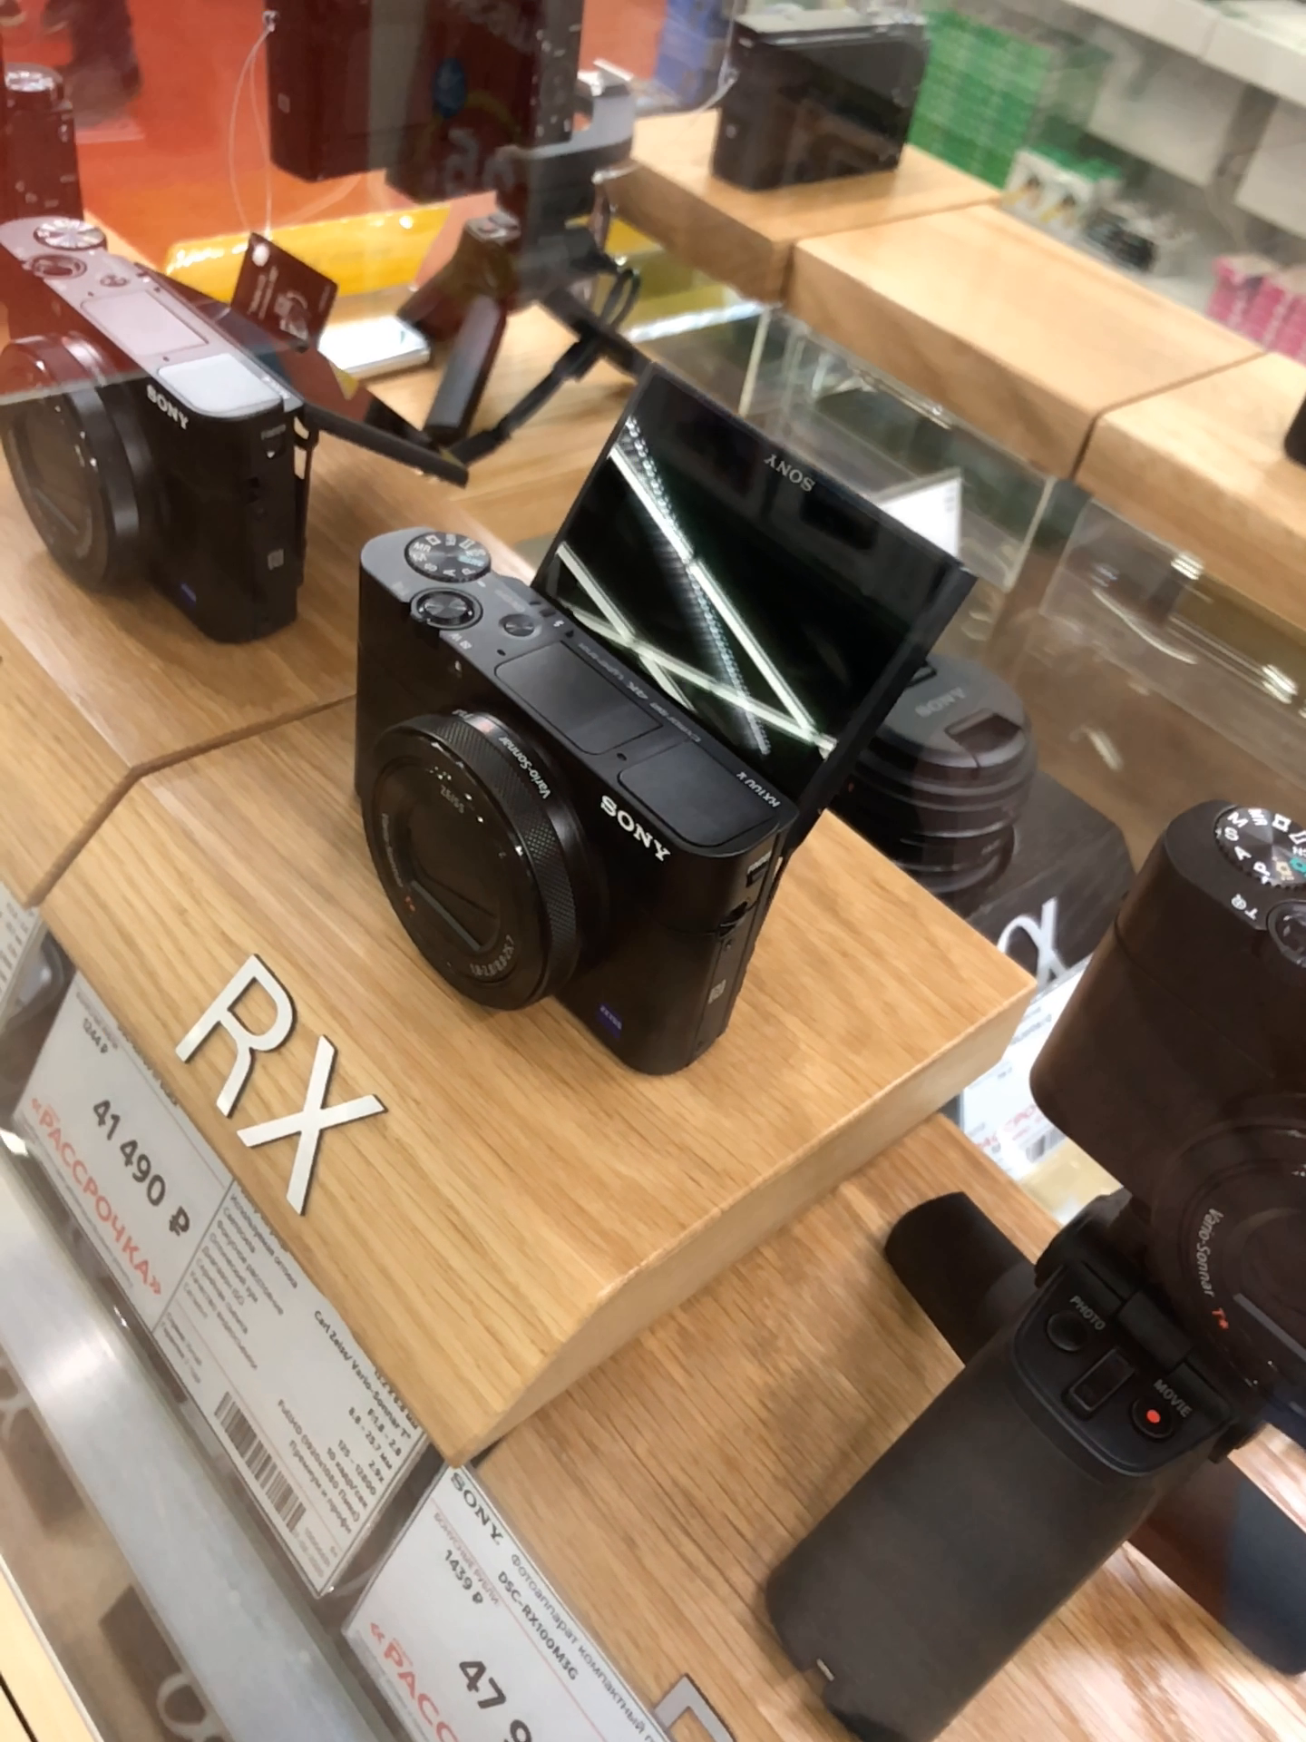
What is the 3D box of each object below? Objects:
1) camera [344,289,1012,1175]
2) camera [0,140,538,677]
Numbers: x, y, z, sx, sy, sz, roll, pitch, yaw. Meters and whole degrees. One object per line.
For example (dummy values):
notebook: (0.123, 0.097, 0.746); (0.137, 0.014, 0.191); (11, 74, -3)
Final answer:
camera: (-0.007, -0.025, 0.270); (0.050, 0.119, 0.100); (-26, 56, -34)
camera: (-0.100, -0.114, 0.345); (0.097, 0.067, 0.101); (-26, 56, -34)
